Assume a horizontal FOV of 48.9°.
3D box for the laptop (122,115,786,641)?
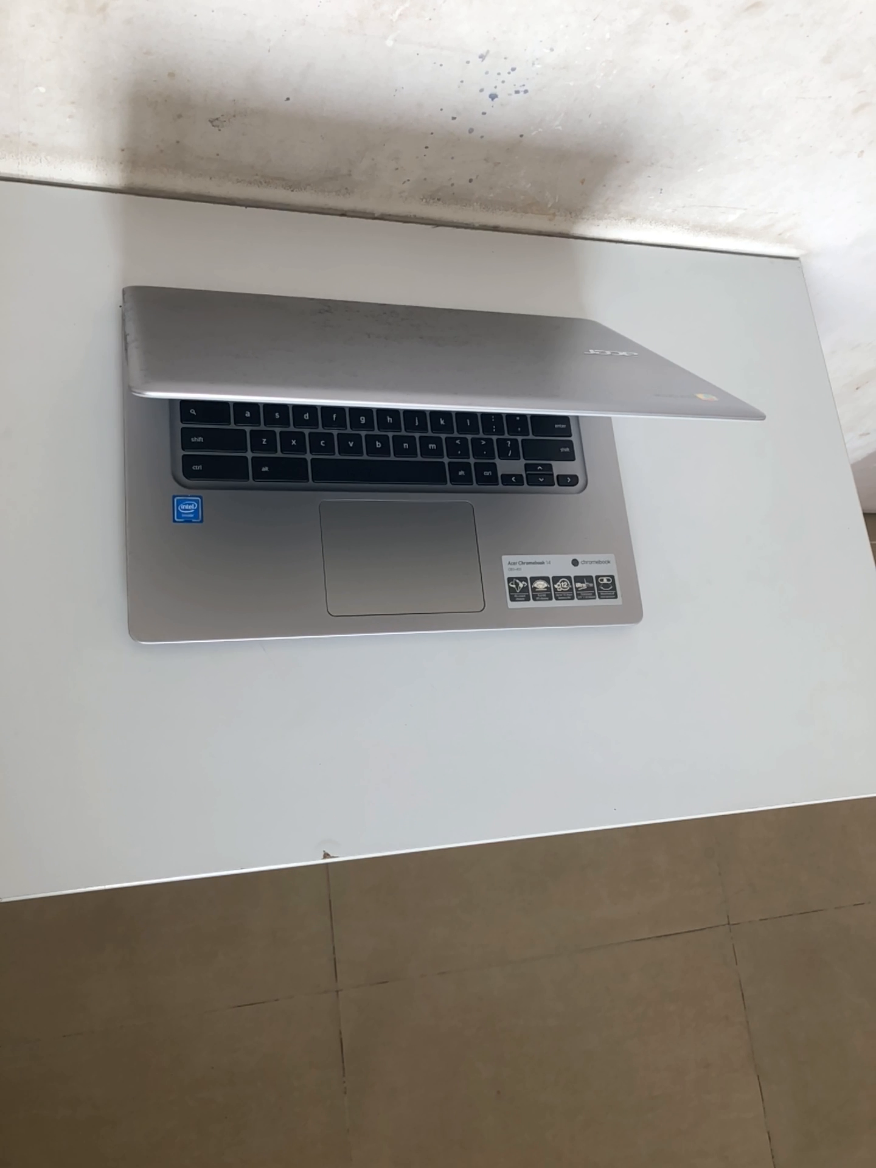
[{"bbox_3d":[-0.007,-0.100,0.554,0.326,0.155,0.222,-1,73,-19],"label":"laptop"}]
